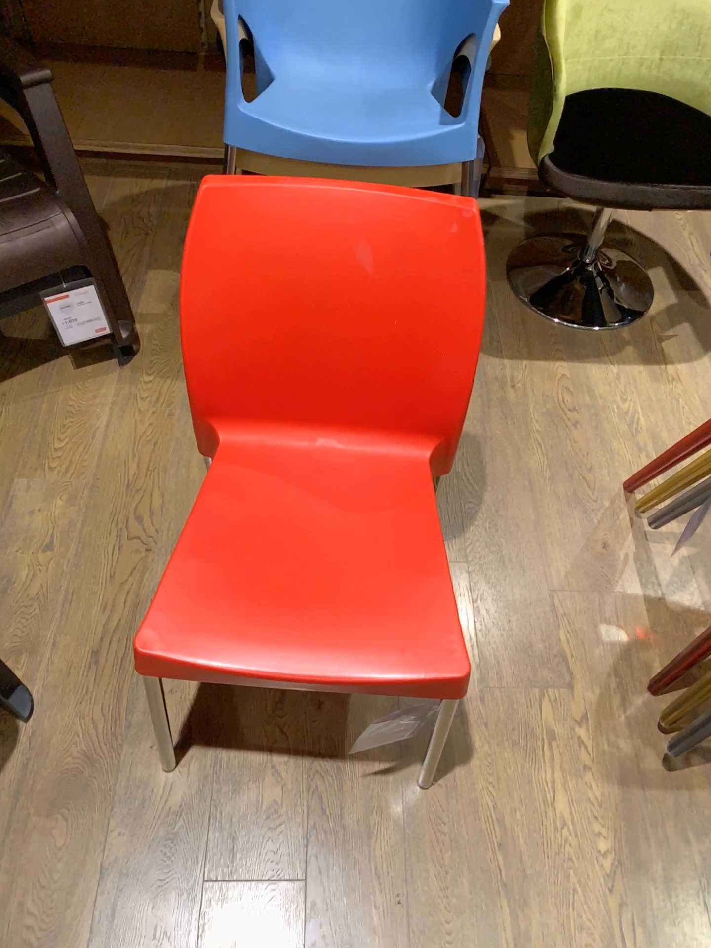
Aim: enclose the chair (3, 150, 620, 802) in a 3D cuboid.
[{"bbox_3d":[-0.040,0.063,1.116,0.530,0.778,0.622,6,54,-1],"label":"chair"}]
